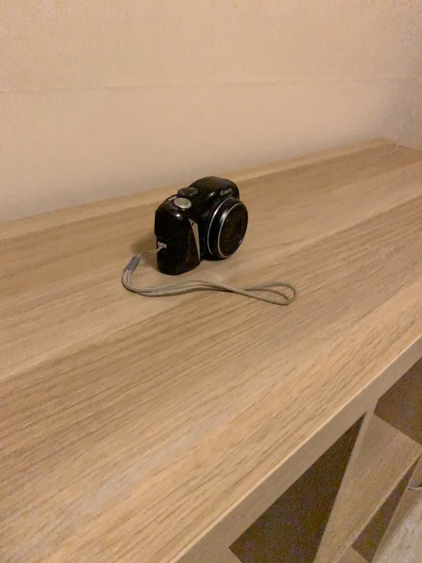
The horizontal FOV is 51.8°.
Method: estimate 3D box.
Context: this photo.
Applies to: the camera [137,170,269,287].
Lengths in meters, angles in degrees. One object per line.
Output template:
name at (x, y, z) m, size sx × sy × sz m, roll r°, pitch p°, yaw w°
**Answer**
camera at (-0.004, -0.056, 0.408) m, size 0.068 × 0.059 × 0.121 m, roll 19°, pitch 33°, yaw 24°
